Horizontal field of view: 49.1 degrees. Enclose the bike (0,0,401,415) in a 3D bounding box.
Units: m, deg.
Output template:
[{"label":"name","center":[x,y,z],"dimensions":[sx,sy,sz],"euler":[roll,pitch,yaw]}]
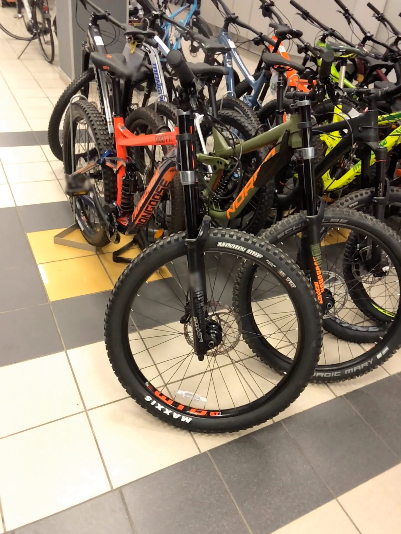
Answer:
[{"label":"bike","center":[-0.104,-0.439,1.794],"dimensions":[0.802,1.109,1.702],"euler":[-19,40,-35]}]
